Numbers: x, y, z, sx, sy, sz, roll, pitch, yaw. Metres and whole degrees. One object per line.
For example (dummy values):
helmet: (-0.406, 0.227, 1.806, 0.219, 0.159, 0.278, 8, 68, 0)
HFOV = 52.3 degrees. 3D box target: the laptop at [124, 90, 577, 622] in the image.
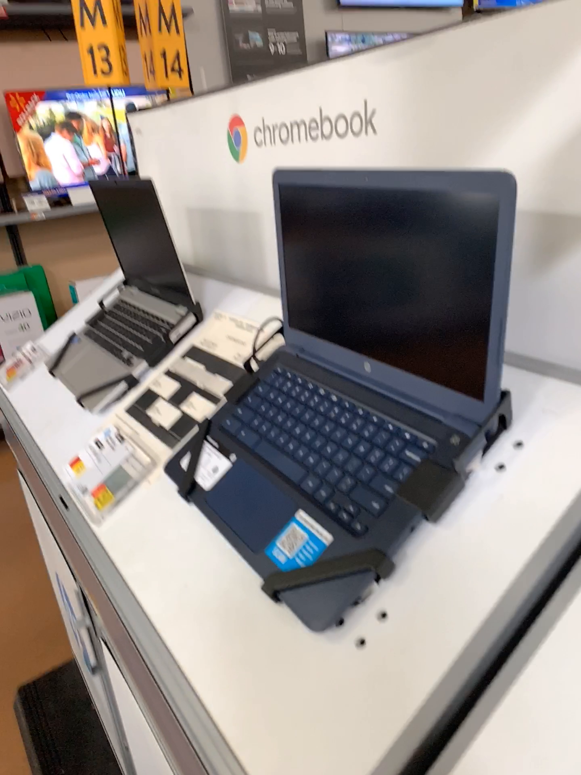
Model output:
laptop: (0.030, -0.066, 0.585, 0.322, 0.190, 0.318, -39, 34, -17)
